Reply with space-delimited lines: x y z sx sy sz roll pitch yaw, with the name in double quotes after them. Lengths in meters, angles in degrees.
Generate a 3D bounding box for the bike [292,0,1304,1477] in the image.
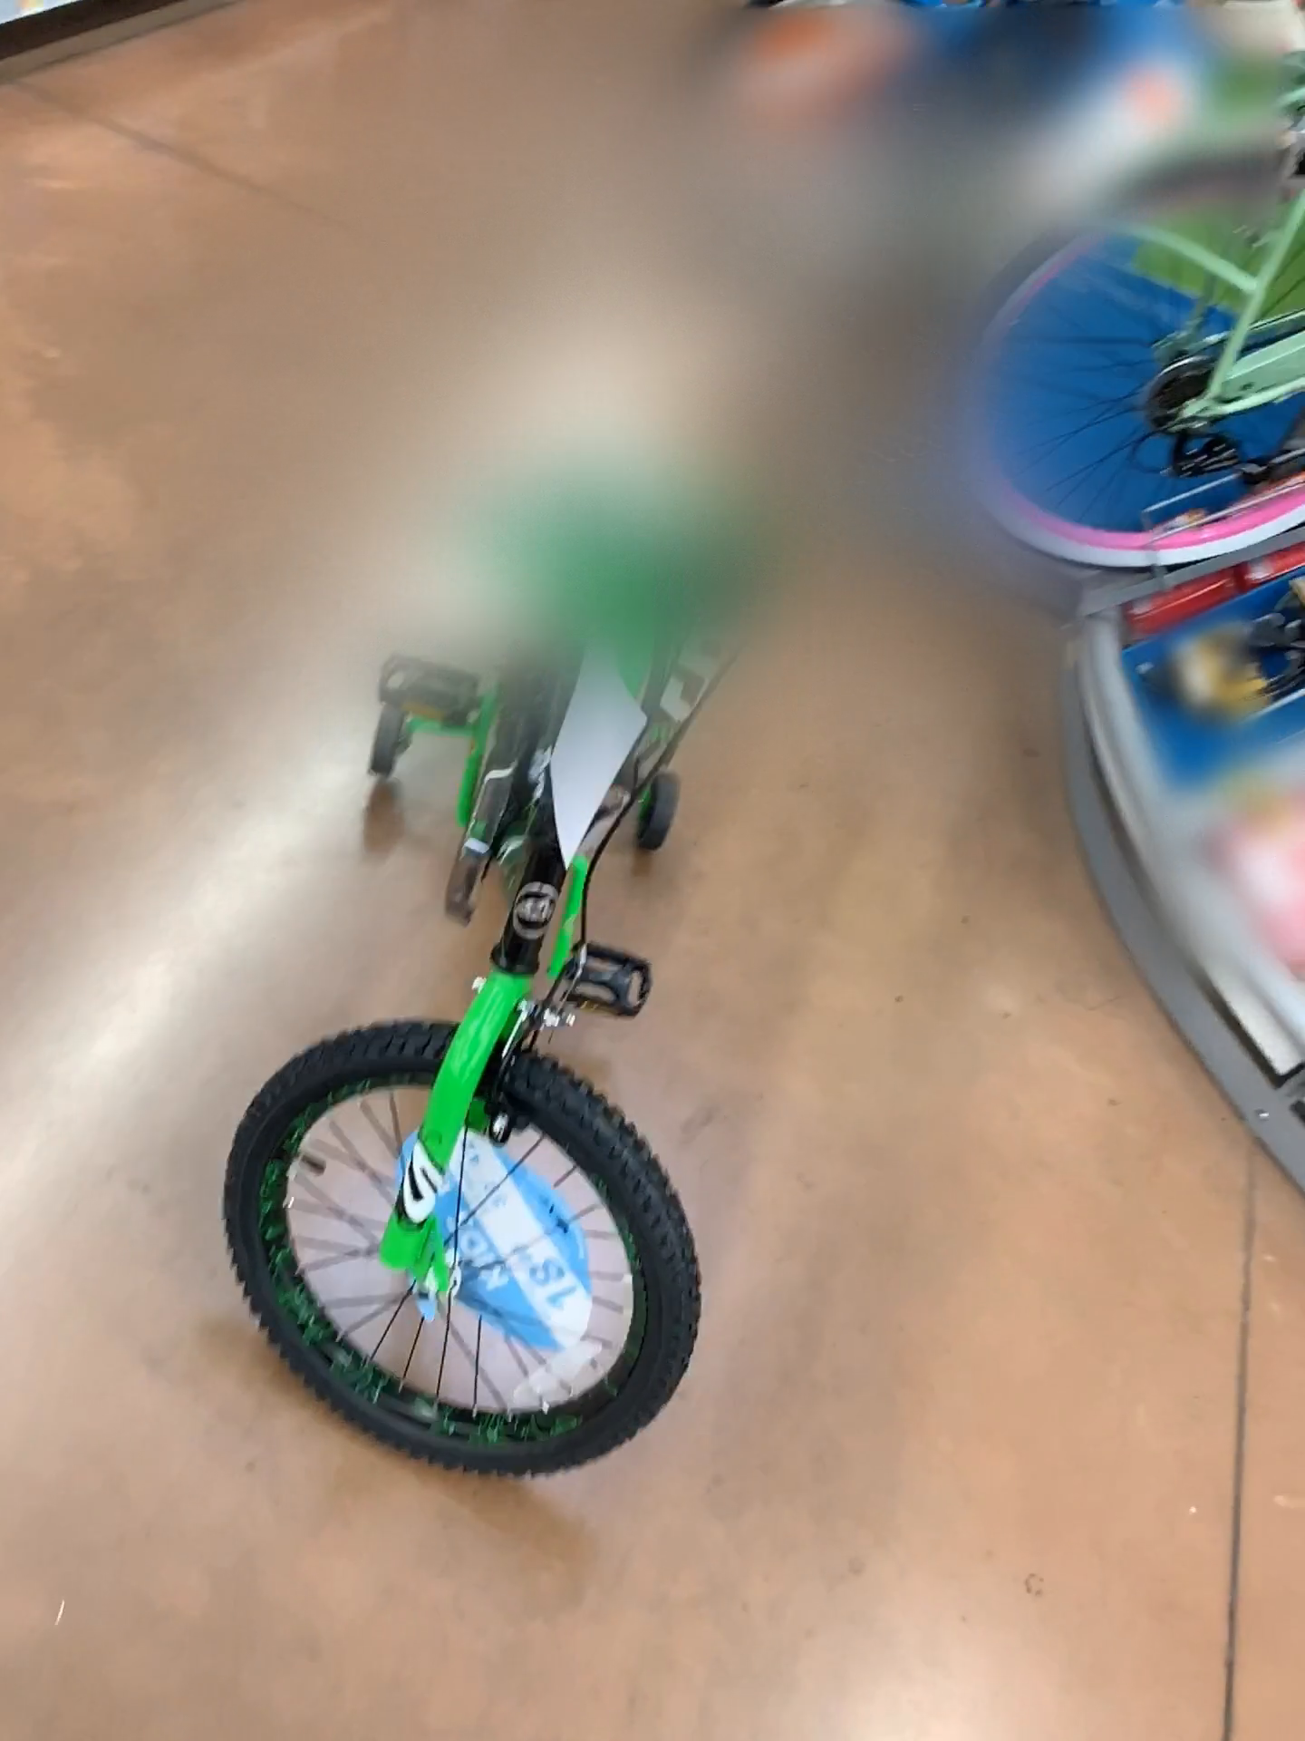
0.014 -0.141 1.307 0.635 0.914 1.055 6 48 -14 "bike"
